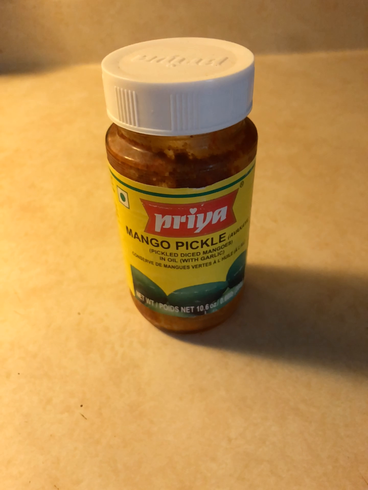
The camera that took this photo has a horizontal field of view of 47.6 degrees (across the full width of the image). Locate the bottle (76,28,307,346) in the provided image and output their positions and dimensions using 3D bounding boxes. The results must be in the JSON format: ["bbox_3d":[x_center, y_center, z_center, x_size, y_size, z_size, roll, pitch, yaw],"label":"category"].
[{"bbox_3d":[0.004,-0.020,0.191,0.070,0.130,0.060,-2,39,1],"label":"bottle"}]
